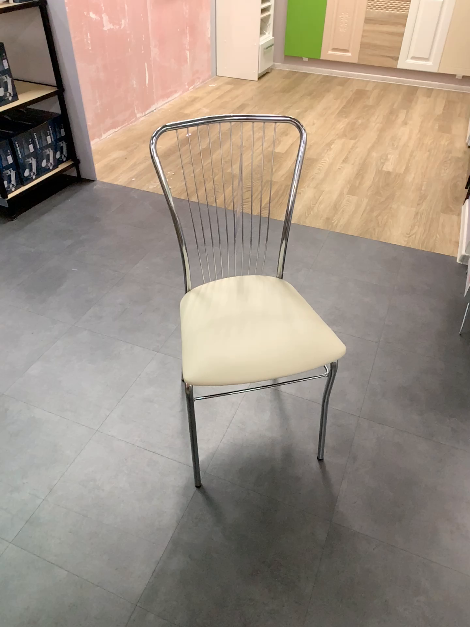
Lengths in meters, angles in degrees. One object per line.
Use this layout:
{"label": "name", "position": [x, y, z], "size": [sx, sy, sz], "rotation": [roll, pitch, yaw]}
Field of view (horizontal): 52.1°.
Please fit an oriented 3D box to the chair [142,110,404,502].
{"label": "chair", "position": [0.032, 0.001, 1.410], "size": [0.472, 0.964, 0.555], "rotation": [-7, 40, -10]}
